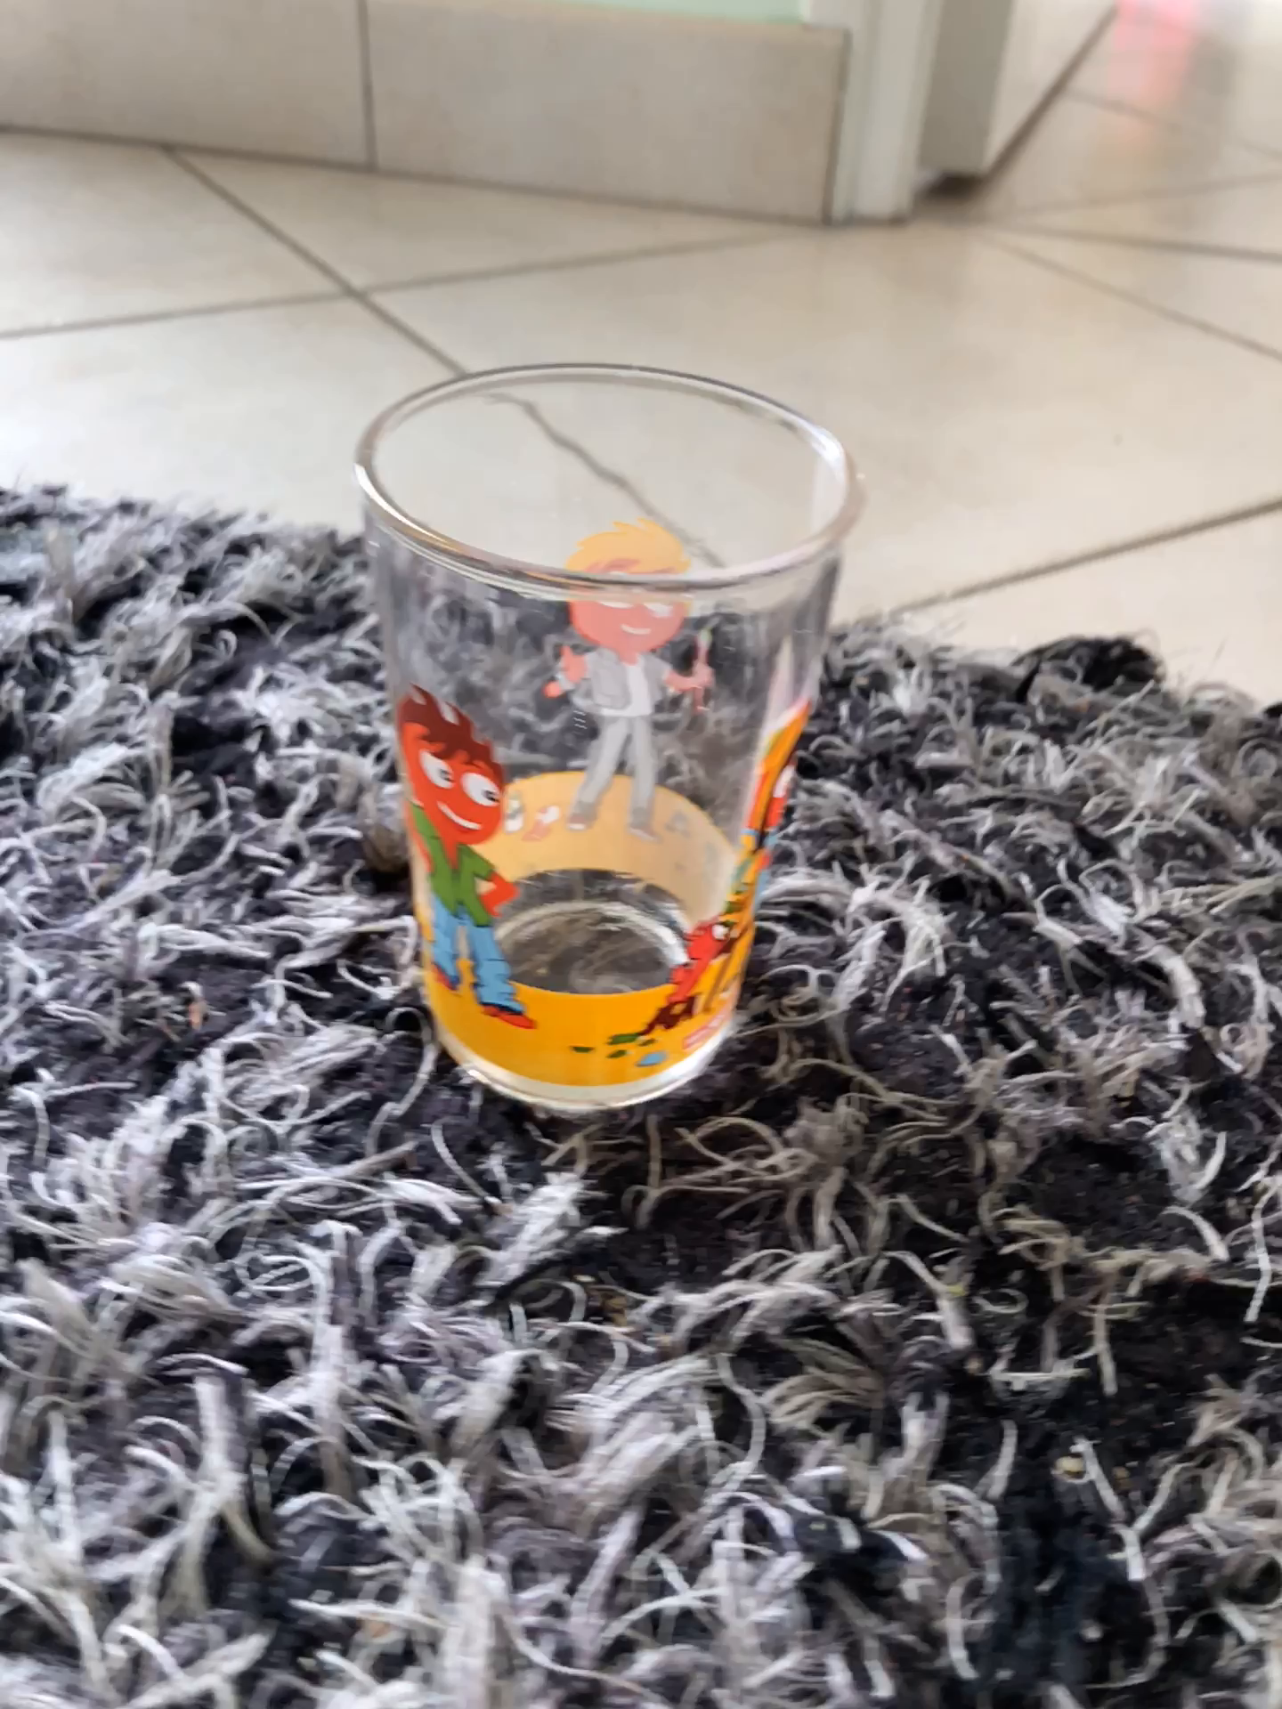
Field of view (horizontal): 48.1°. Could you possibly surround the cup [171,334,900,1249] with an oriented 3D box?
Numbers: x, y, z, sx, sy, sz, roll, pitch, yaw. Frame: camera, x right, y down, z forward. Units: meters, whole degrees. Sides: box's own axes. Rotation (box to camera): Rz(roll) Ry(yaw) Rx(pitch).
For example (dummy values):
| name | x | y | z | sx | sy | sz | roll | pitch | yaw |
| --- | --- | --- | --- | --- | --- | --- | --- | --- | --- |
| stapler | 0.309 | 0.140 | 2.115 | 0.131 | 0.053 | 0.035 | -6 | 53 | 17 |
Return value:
| name | x | y | z | sx | sy | sz | roll | pitch | yaw |
| --- | --- | --- | --- | --- | --- | --- | --- | --- | --- |
| cup | -0.011 | -0.011 | 0.212 | 0.070 | 0.099 | 0.071 | 2 | 38 | -2 |
